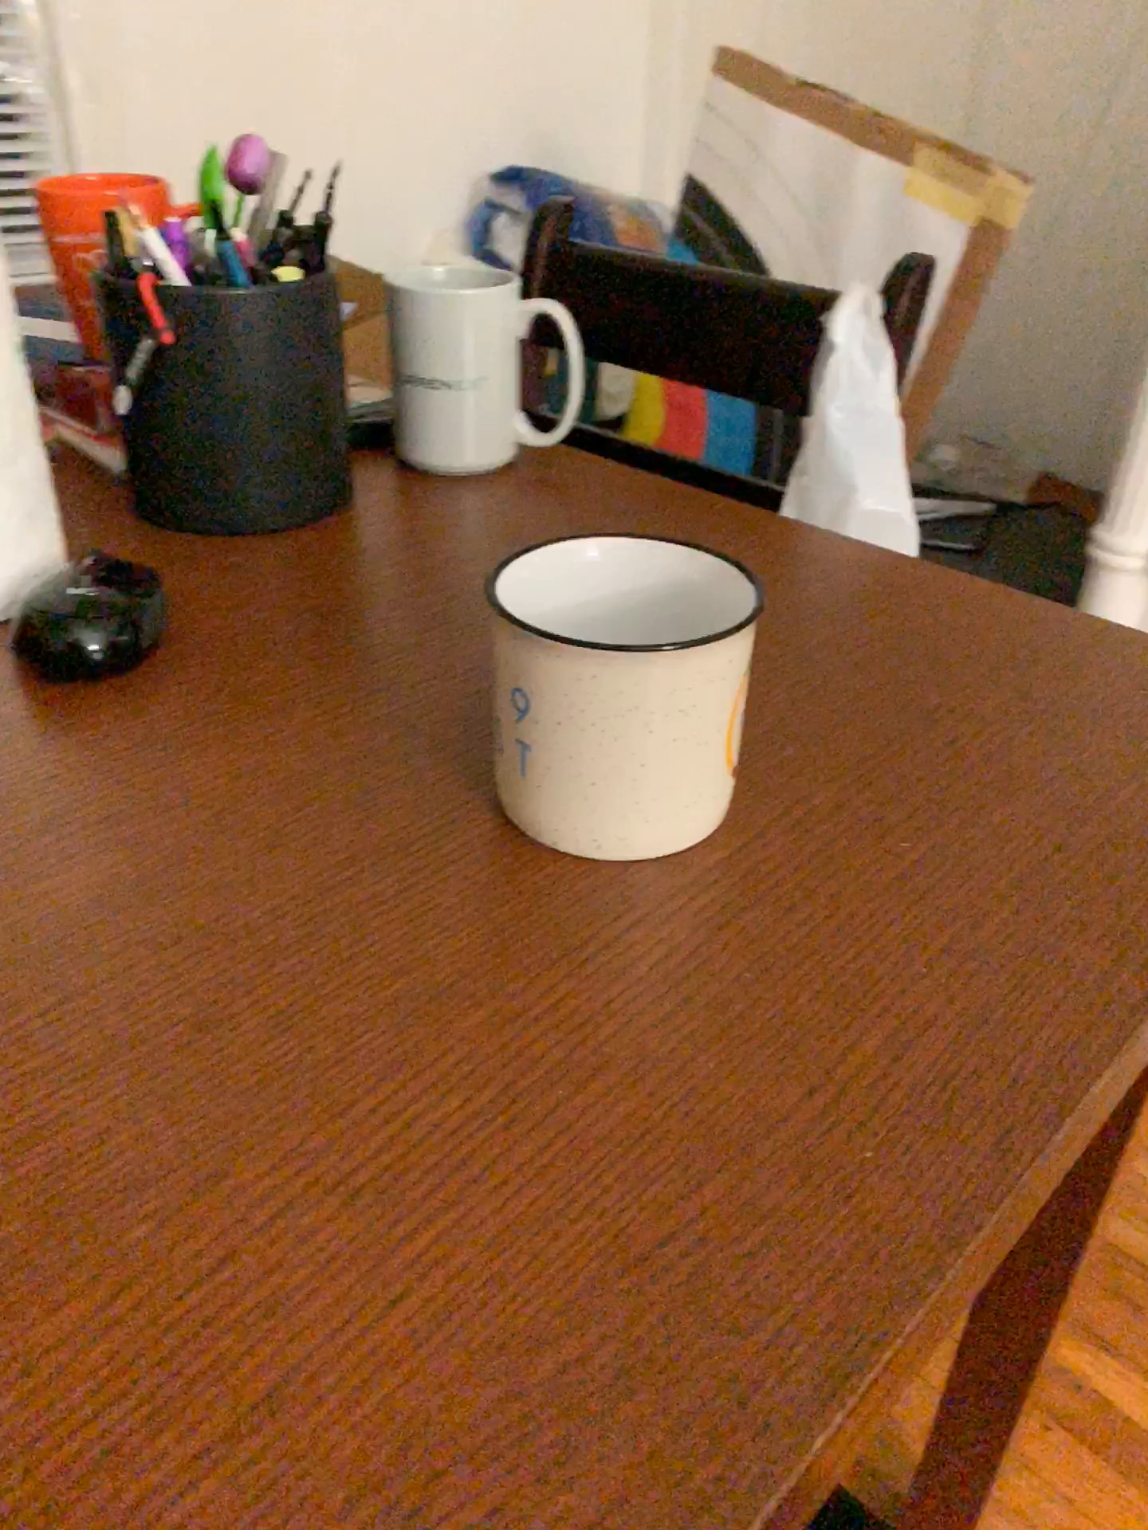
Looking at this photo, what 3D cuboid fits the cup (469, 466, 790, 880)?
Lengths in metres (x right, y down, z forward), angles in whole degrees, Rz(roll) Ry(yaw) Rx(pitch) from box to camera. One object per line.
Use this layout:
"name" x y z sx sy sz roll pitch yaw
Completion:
"cup" 0.015 -0.042 0.457 0.100 0.099 0.151 1 32 -1
